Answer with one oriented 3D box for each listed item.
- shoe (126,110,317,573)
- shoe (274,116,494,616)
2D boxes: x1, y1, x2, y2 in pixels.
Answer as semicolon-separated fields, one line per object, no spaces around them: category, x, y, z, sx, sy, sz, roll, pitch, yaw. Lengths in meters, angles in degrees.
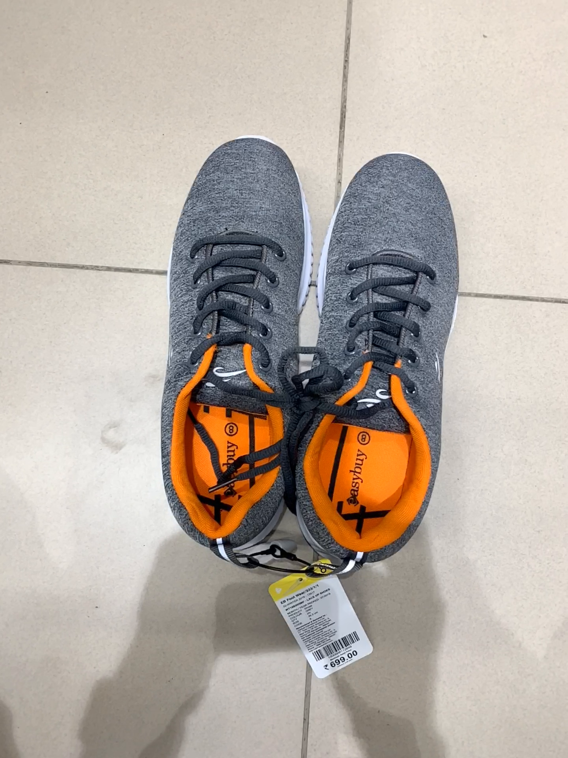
shoe;-0.035;-0.024;0.396;0.100;0.090;0.280;2;83;1
shoe;0.065;-0.011;0.403;0.100;0.090;0.300;8;83;1
